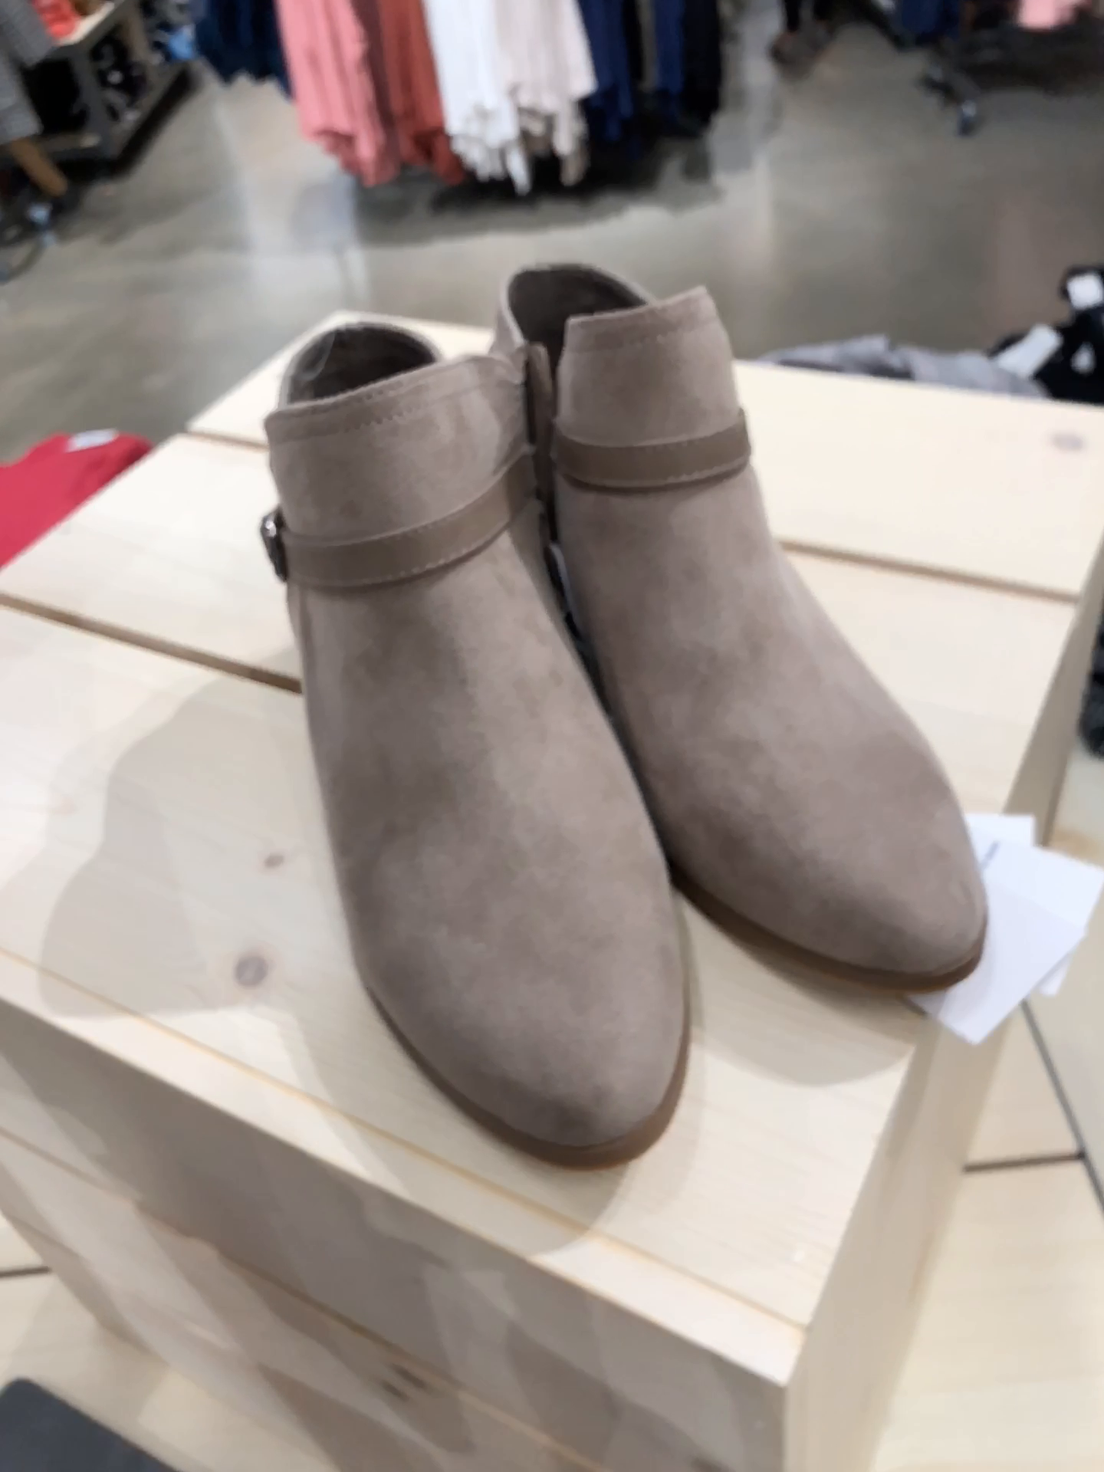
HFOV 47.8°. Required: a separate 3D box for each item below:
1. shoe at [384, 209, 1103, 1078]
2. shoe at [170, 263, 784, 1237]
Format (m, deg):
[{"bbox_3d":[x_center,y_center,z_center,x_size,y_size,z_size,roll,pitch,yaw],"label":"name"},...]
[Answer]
[{"bbox_3d":[0.039,-0.048,0.358,0.090,0.110,0.251,-20,43,-11],"label":"shoe"},{"bbox_3d":[-0.032,-0.020,0.335,0.090,0.110,0.251,-17,42,-8],"label":"shoe"}]
